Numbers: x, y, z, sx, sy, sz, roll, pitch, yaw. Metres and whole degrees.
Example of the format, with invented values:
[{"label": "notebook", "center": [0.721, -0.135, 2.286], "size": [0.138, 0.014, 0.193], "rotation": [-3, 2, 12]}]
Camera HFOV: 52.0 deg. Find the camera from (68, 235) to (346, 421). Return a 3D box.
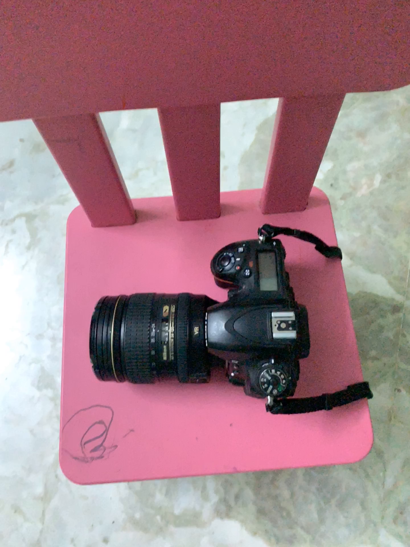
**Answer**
[{"label": "camera", "center": [-0.001, 0.050, 0.374], "size": [0.210, 0.080, 0.140], "rotation": [-2, 75, 1]}]
